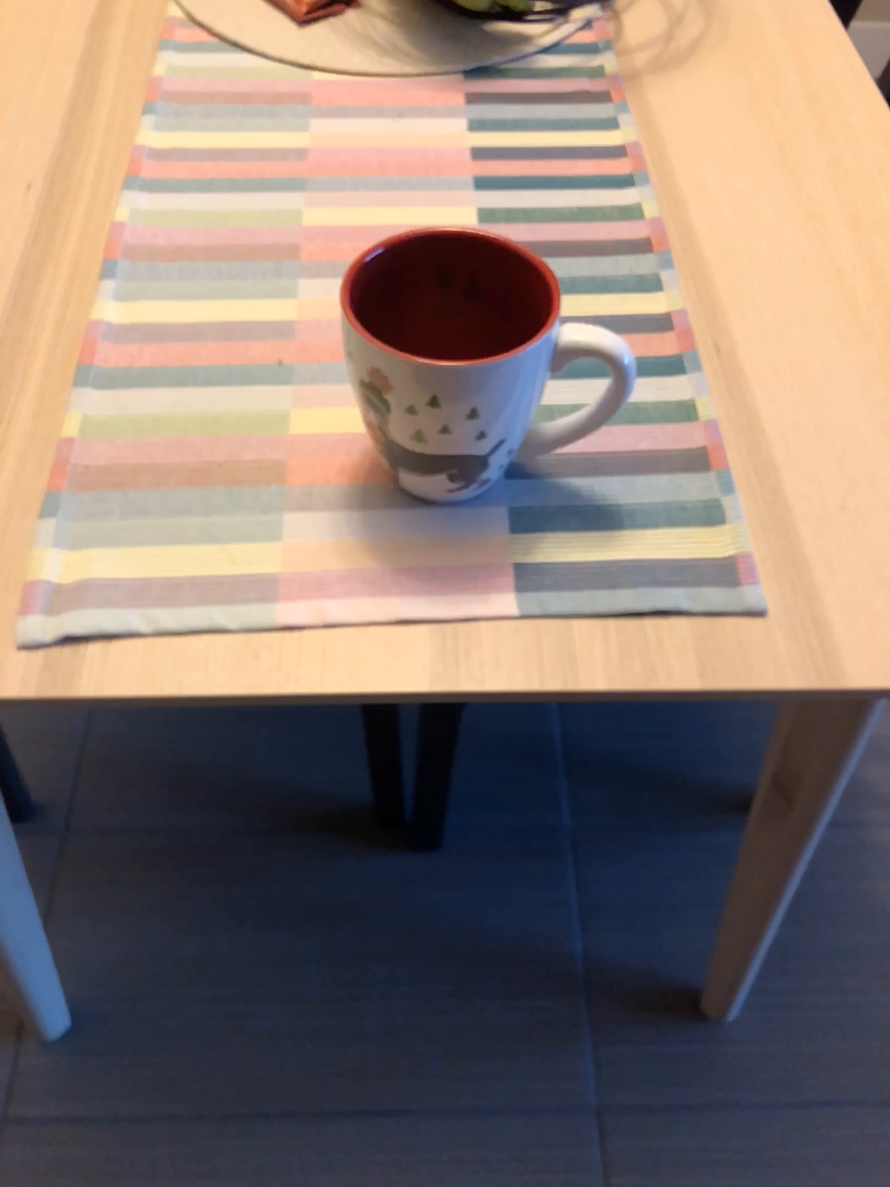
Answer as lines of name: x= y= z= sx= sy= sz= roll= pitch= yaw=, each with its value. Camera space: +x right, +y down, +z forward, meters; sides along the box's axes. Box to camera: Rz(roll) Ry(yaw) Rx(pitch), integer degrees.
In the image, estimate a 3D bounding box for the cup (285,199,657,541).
cup: x=0.014 y=-0.101 z=0.452 sx=0.140 sy=0.090 sz=0.100 roll=9 pitch=54 yaw=5
